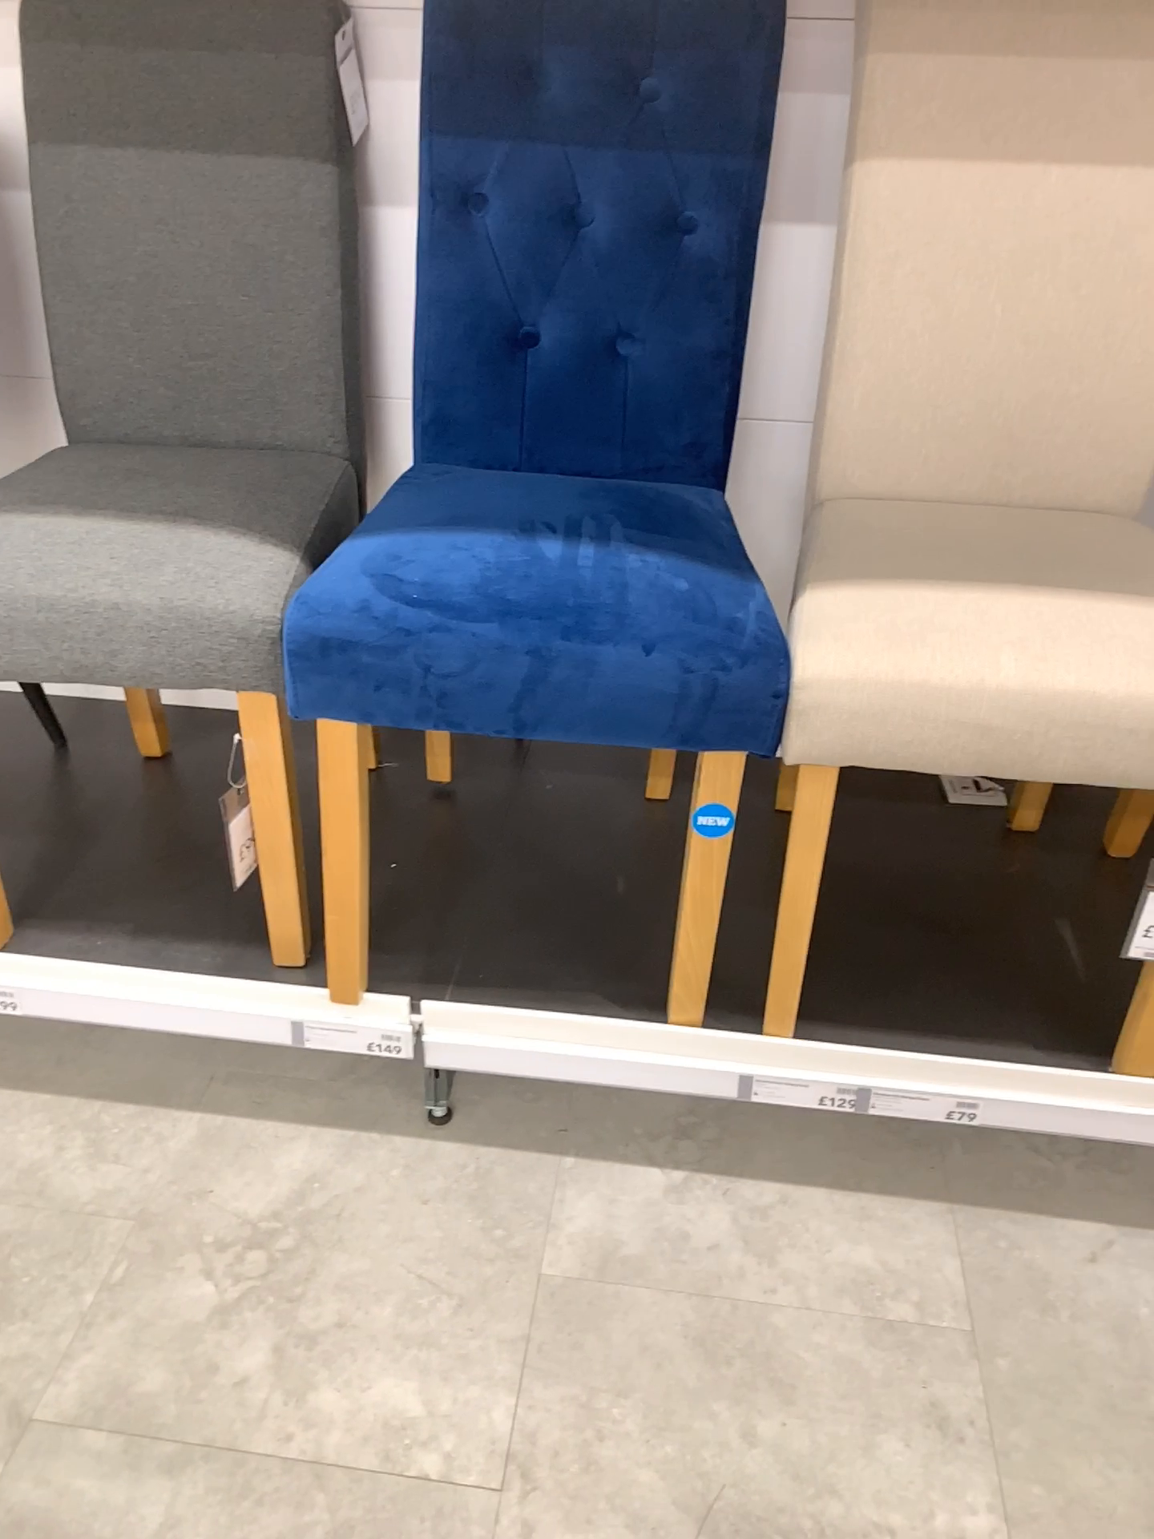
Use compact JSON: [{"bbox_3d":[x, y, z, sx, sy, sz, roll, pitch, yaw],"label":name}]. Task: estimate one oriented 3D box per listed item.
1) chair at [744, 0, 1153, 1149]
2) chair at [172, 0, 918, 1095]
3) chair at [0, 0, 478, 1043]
[{"bbox_3d":[0.471,-0.268,1.231,0.489,1.035,0.673,5,26,6],"label":"chair"},{"bbox_3d":[-0.004,-0.306,1.286,0.489,1.035,0.673,5,26,6],"label":"chair"},{"bbox_3d":[-0.423,-0.340,1.347,0.489,1.025,0.673,5,26,6],"label":"chair"}]
